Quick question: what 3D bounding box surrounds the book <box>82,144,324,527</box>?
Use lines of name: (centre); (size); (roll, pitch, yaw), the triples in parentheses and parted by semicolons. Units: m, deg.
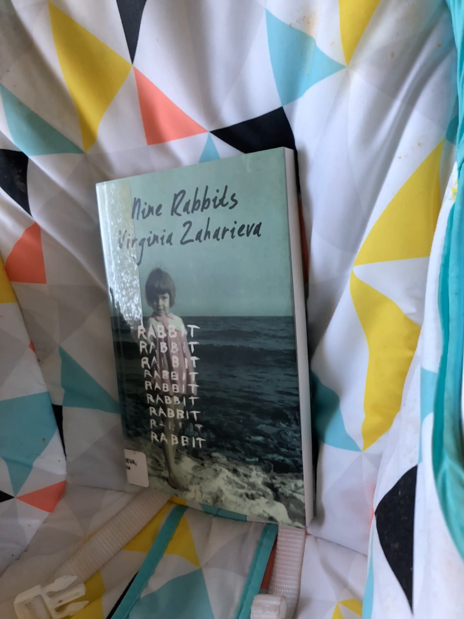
book: (-0.022, 0.016, 0.316); (0.146, 0.025, 0.200); (0, 97, 32)
